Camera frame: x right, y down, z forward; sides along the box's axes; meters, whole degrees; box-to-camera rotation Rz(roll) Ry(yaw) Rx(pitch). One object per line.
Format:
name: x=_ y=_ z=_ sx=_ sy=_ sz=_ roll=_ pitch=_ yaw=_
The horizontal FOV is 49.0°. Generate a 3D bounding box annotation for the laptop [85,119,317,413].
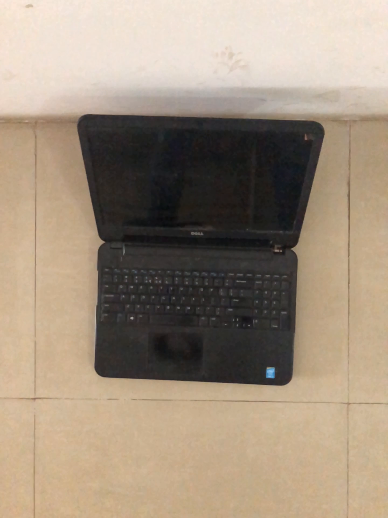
laptop: x=0.012 y=0.010 z=0.689 sx=0.322 sy=0.166 sz=0.408 roll=1 pitch=90 yaw=0
